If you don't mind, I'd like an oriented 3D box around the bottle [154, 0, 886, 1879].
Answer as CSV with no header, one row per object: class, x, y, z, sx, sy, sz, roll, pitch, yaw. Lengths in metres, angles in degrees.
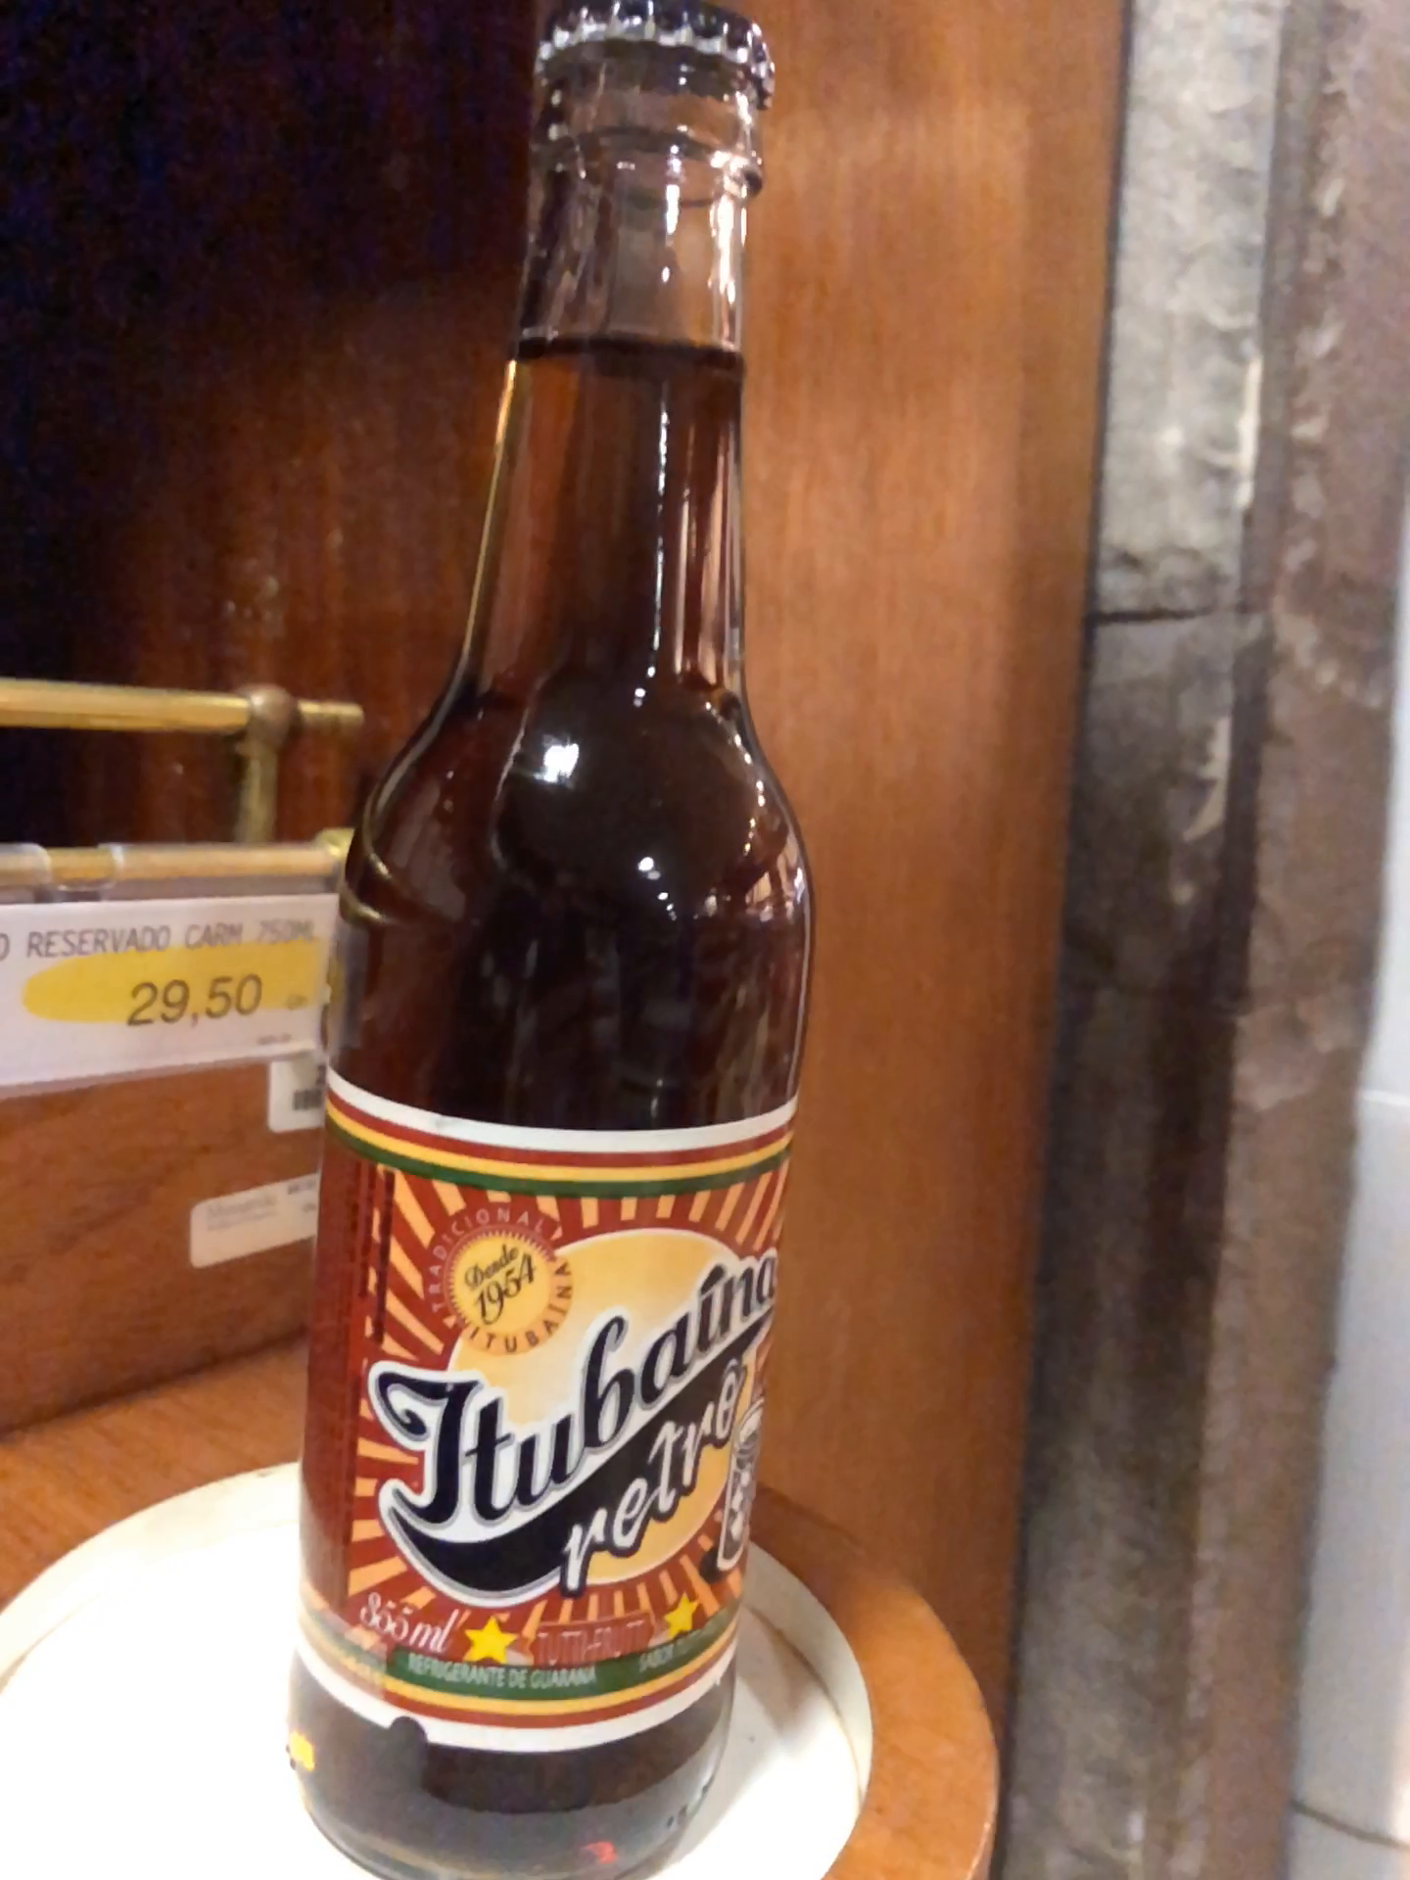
bottle,-0.031,0.006,0.228,0.070,0.250,0.070,3,5,0
